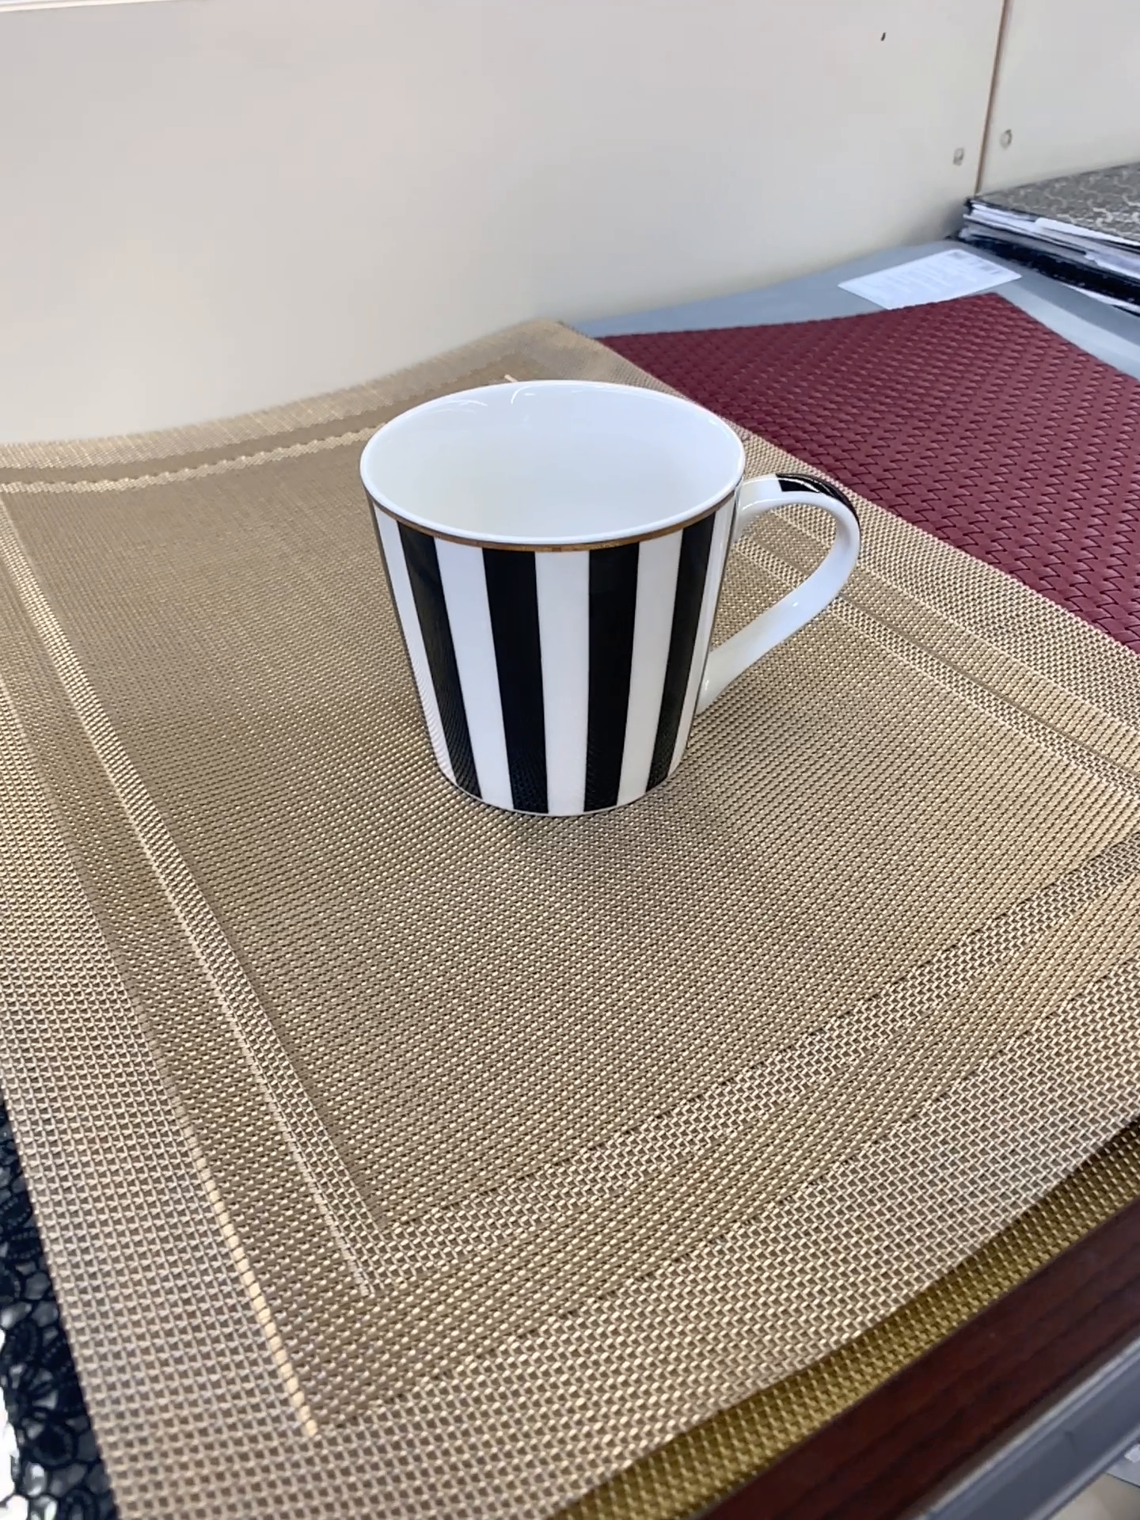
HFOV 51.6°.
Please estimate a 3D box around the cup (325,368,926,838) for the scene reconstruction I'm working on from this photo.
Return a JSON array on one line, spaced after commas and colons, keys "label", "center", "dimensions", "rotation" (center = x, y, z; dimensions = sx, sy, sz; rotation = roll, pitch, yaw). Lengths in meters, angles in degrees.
[{"label": "cup", "center": [0.010, -0.047, 0.317], "dimensions": [0.130, 0.080, 0.101], "rotation": [-5, 34, -2]}]
